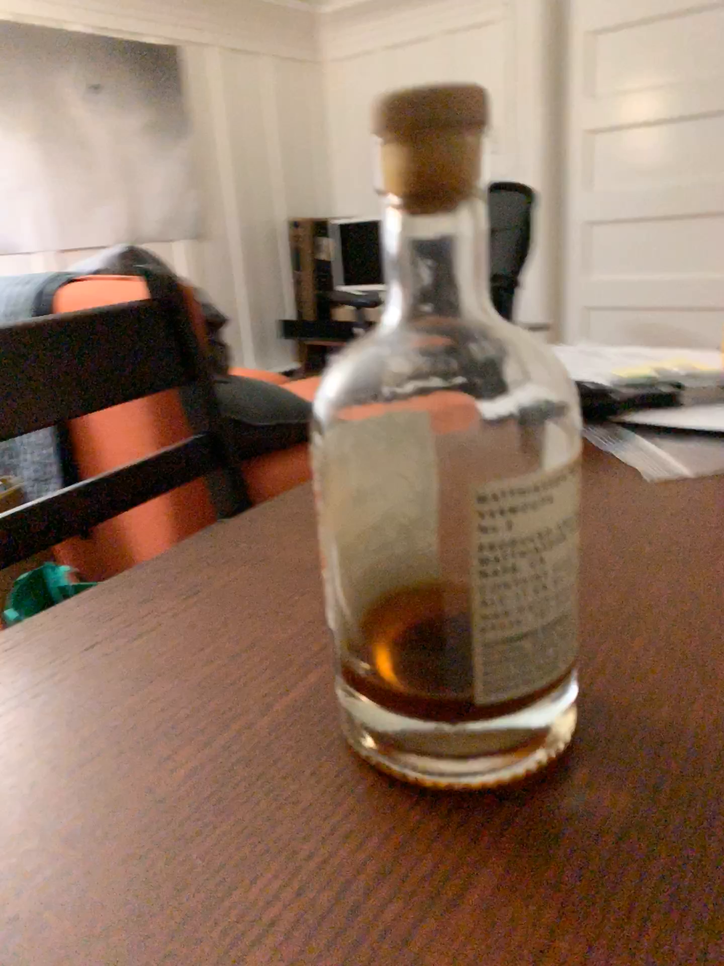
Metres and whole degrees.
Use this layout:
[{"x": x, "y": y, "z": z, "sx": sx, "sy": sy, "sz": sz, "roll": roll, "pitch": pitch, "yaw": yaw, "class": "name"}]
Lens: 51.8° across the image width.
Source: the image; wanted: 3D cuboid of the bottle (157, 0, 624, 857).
[{"x": 0.018, "y": -0.015, "z": 0.213, "sx": 0.080, "sy": 0.189, "sz": 0.090, "roll": 8, "pitch": 22, "yaw": 32, "class": "bottle"}]
